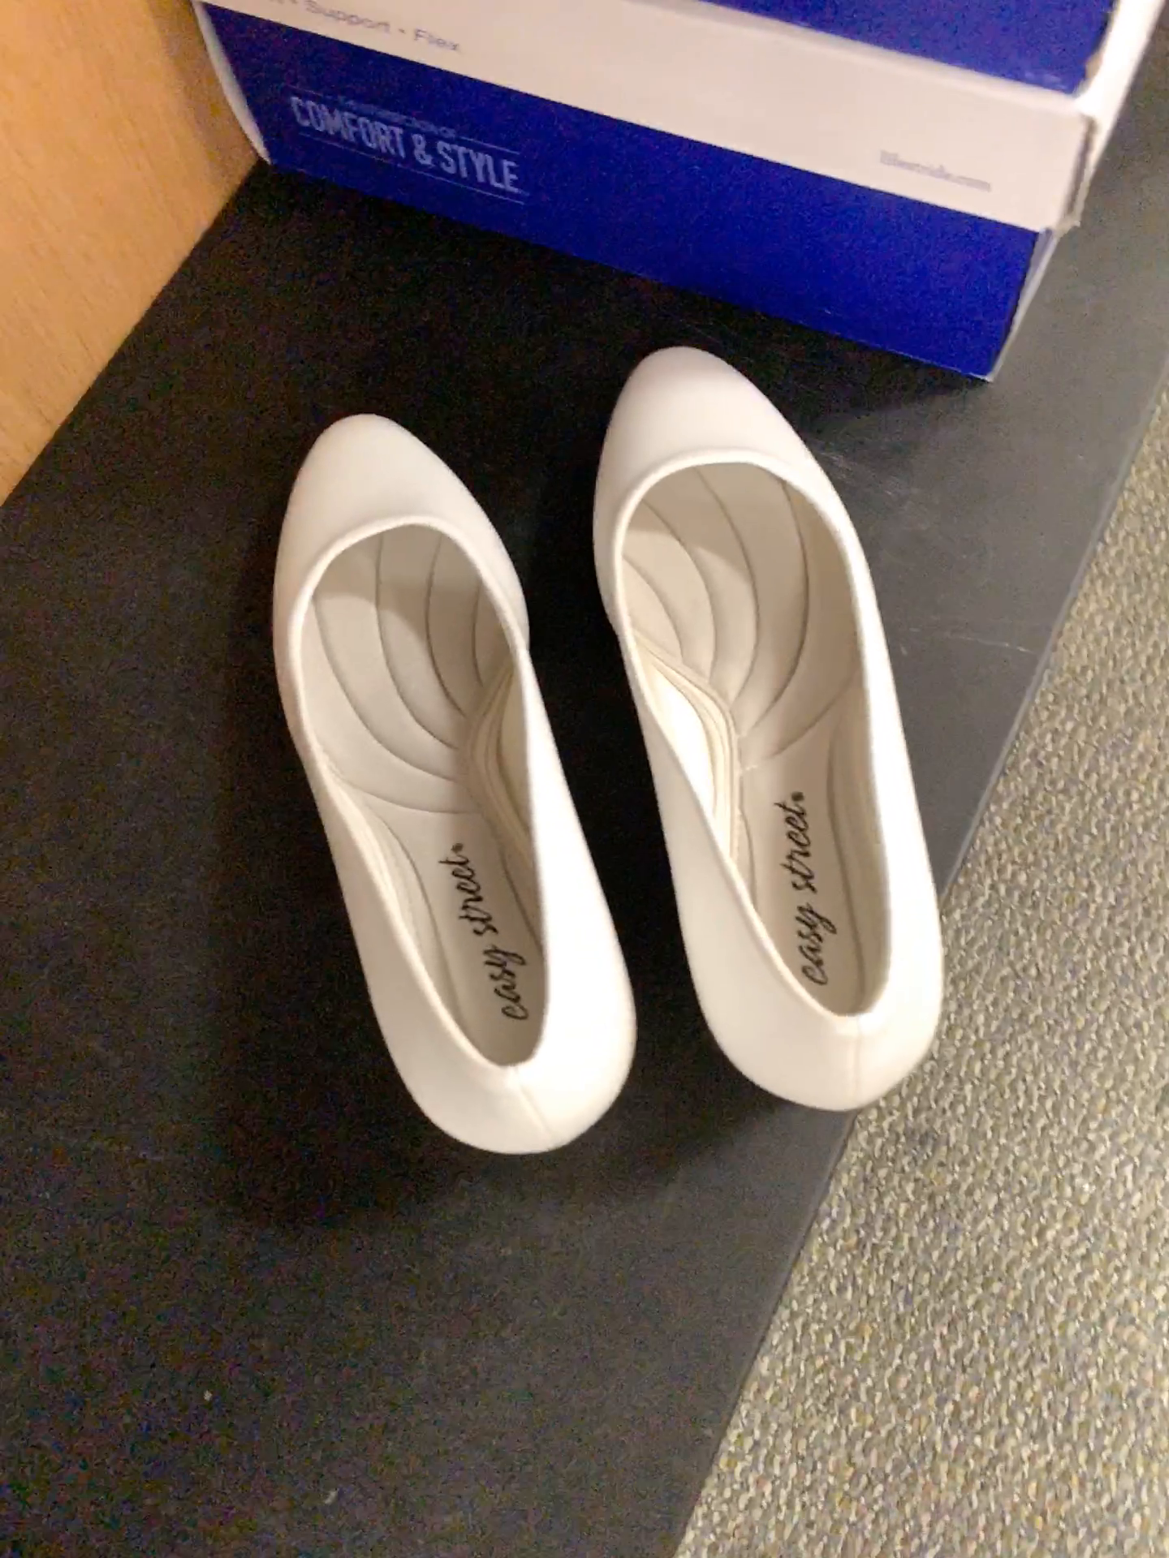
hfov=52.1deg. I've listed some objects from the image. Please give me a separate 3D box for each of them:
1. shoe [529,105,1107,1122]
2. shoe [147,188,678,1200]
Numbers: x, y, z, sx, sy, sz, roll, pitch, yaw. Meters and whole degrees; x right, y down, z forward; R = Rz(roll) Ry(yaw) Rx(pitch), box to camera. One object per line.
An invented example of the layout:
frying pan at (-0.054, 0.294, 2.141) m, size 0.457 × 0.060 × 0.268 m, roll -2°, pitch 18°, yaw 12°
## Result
shoe at (0.048, -0.043, 0.335) m, size 0.090 × 0.110 × 0.250 m, roll -8°, pitch 69°, yaw 2°
shoe at (-0.047, -0.023, 0.332) m, size 0.080 × 0.100 × 0.250 m, roll -15°, pitch 69°, yaw -1°
